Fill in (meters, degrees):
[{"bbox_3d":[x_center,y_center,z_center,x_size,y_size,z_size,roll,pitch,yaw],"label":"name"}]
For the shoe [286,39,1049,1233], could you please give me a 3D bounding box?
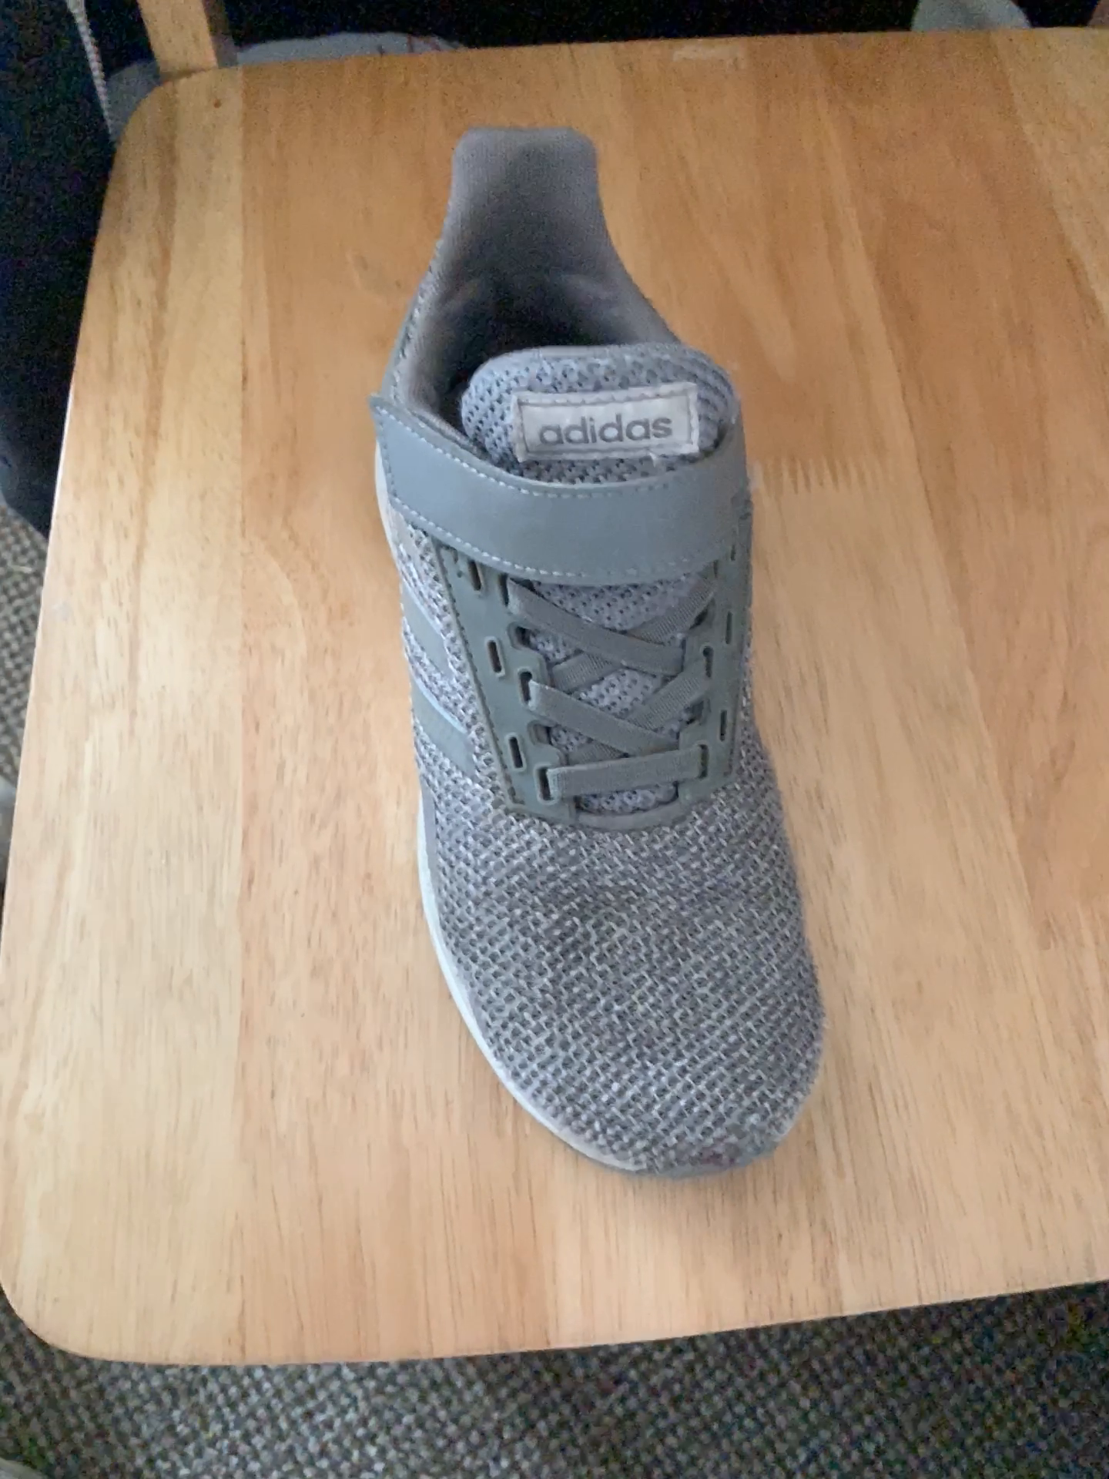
[{"bbox_3d":[0.009,-0.026,0.243,0.090,0.080,0.221,-10,71,-5],"label":"shoe"}]
